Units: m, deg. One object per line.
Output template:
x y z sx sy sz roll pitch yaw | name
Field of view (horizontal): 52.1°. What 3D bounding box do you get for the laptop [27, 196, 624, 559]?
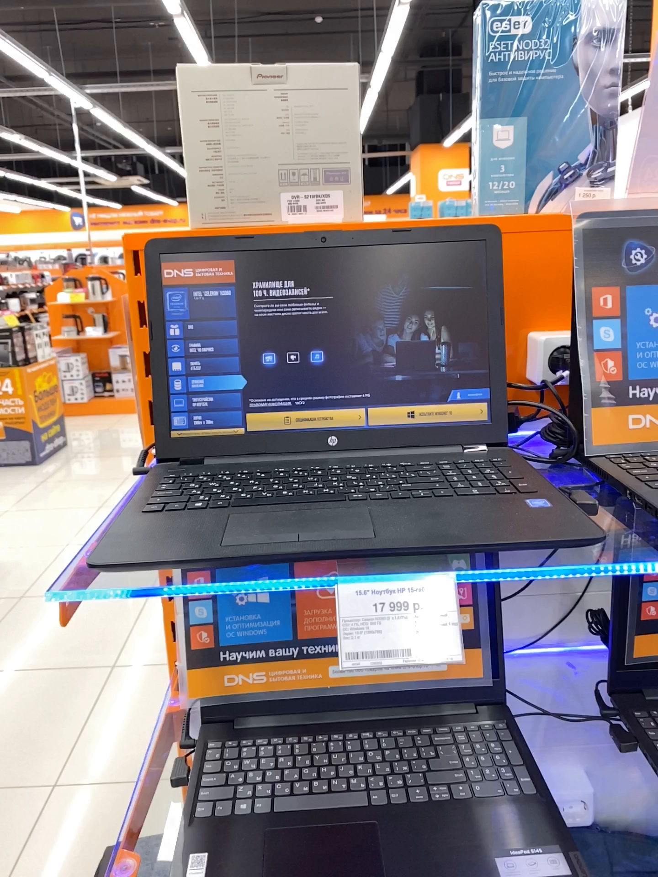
-0.006 -0.074 0.620 0.388 0.236 0.323 -3 14 -1 | laptop
